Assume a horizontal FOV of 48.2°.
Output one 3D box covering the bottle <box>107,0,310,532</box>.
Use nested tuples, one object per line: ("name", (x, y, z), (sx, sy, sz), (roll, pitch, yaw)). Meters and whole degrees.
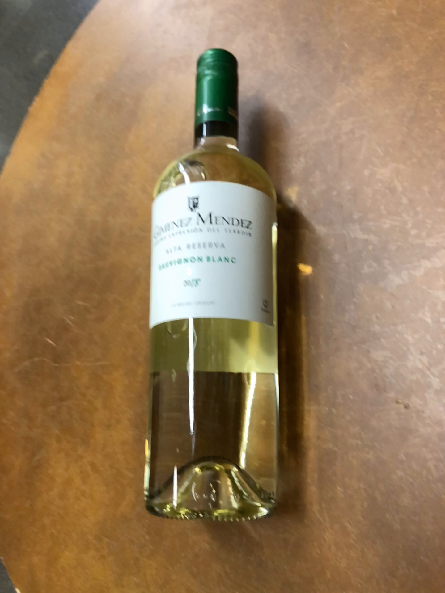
("bottle", (-0.007, -0.031, 0.297), (0.090, 0.050, 0.300), (-11, 69, 32))
